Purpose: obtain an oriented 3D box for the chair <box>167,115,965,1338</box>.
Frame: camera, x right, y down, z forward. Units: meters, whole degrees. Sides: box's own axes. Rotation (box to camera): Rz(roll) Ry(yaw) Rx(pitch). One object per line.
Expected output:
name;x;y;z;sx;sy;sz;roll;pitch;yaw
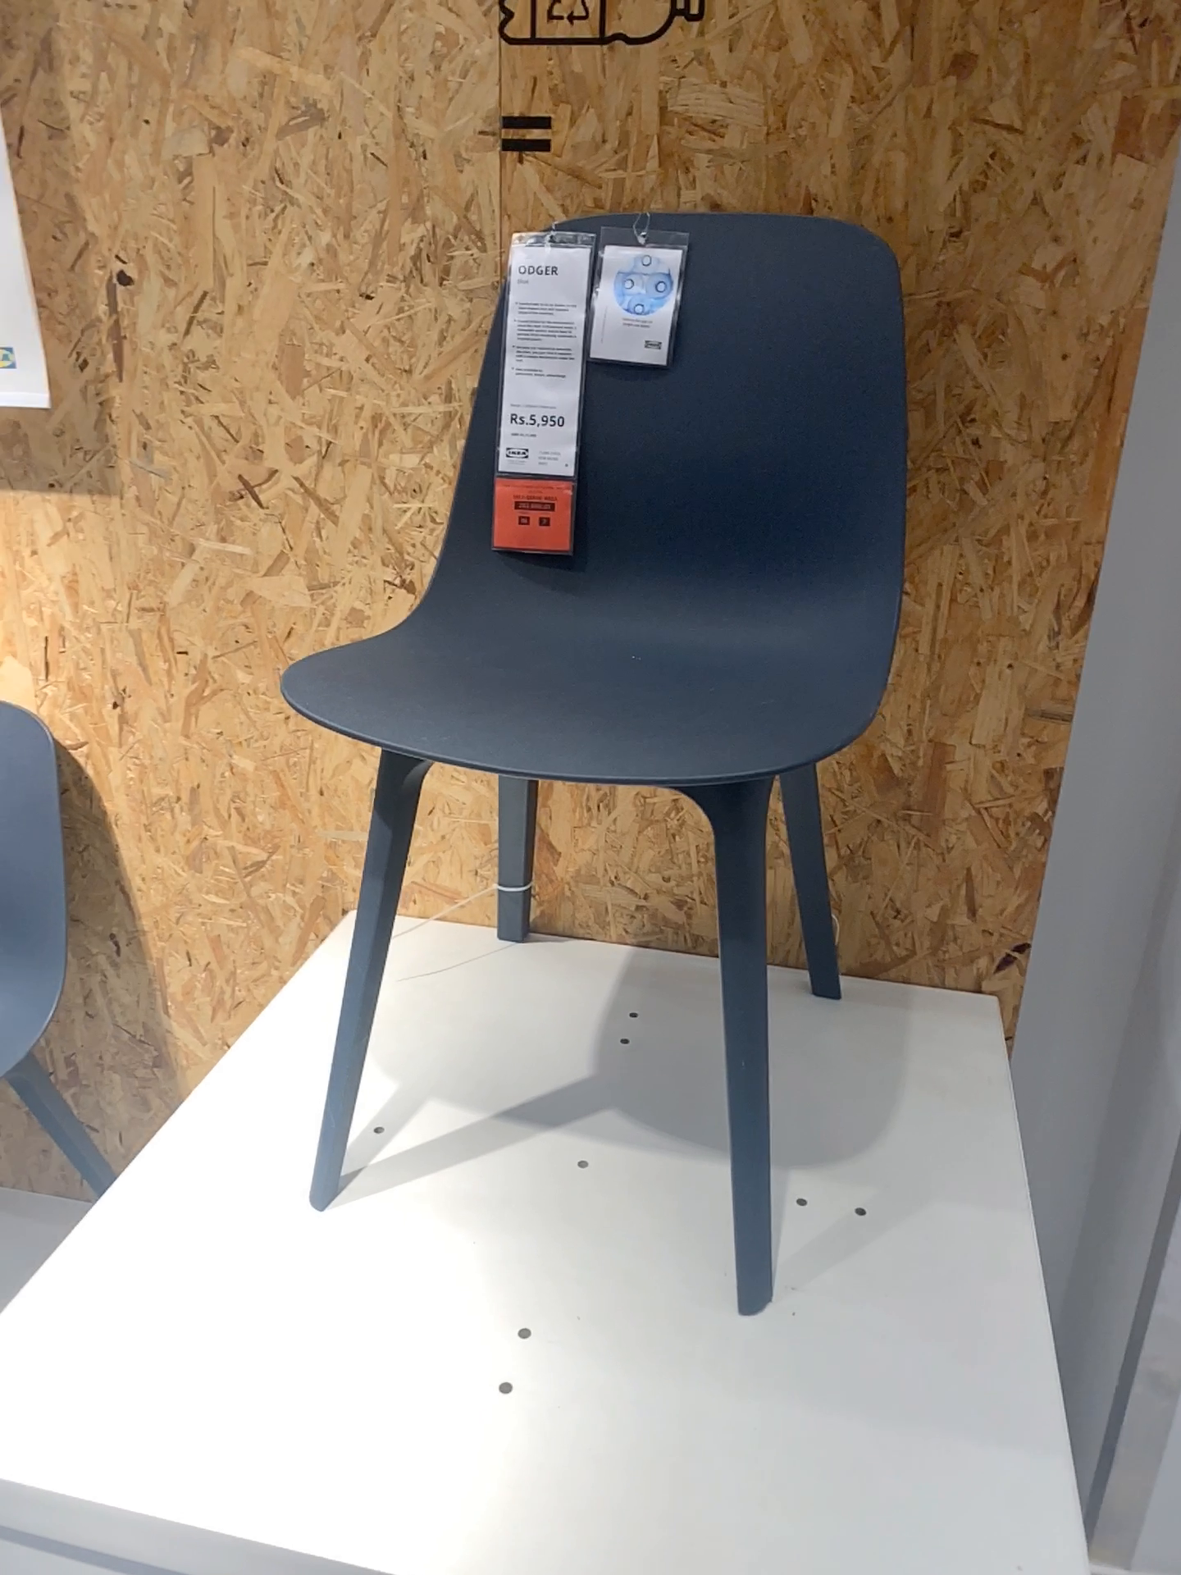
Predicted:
chair;0.029;-0.082;0.993;0.430;0.767;0.502;8;23;15
